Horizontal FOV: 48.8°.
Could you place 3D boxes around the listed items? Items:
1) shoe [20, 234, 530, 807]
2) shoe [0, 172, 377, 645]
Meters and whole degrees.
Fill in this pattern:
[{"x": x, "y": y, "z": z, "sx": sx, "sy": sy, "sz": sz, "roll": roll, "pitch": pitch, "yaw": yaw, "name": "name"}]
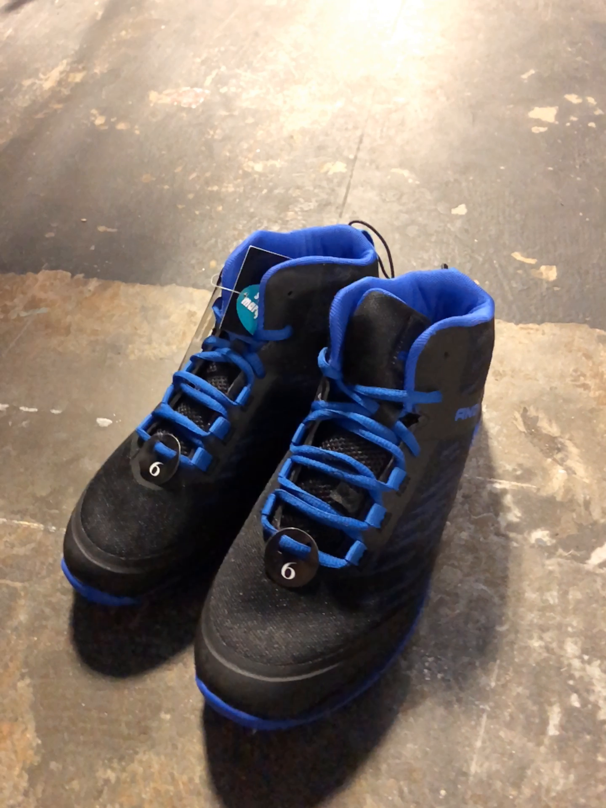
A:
[{"x": 0.009, "y": 0.040, "z": 0.331, "sx": 0.110, "sy": 0.119, "sz": 0.231, "roll": 21, "pitch": 55, "yaw": 28, "name": "shoe"}, {"x": -0.071, "y": -0.010, "z": 0.363, "sx": 0.100, "sy": 0.119, "sz": 0.221, "roll": 29, "pitch": 58, "yaw": 32, "name": "shoe"}]
